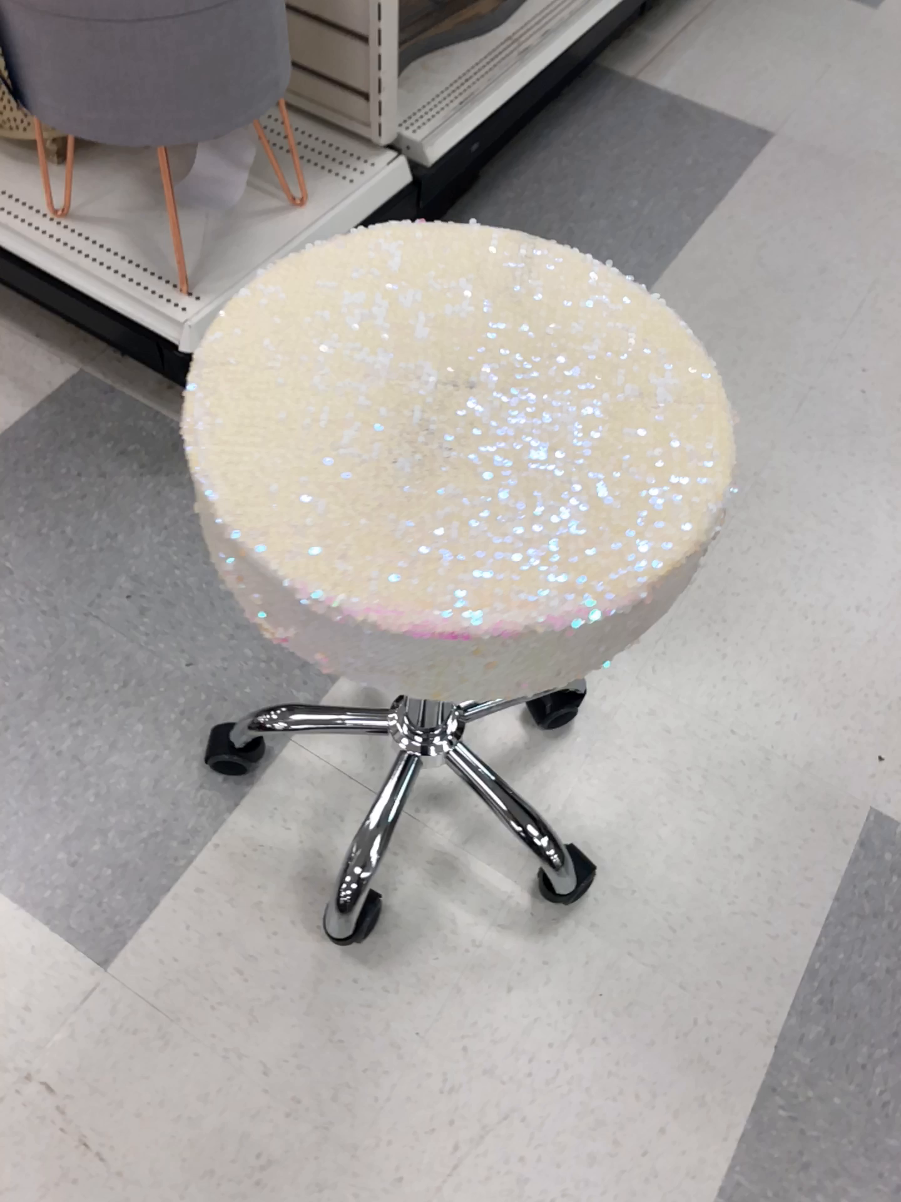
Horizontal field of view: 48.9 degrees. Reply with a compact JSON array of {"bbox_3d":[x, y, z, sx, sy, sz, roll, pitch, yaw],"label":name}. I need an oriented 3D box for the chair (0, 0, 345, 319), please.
[{"bbox_3d":[-0.342,-0.621,1.142,0.305,0.383,0.308,29,59,15],"label":"chair"}]

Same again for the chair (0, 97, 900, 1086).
[{"bbox_3d":[-0.002,0.031,0.850,0.465,0.592,0.438,29,59,15],"label":"chair"}]
